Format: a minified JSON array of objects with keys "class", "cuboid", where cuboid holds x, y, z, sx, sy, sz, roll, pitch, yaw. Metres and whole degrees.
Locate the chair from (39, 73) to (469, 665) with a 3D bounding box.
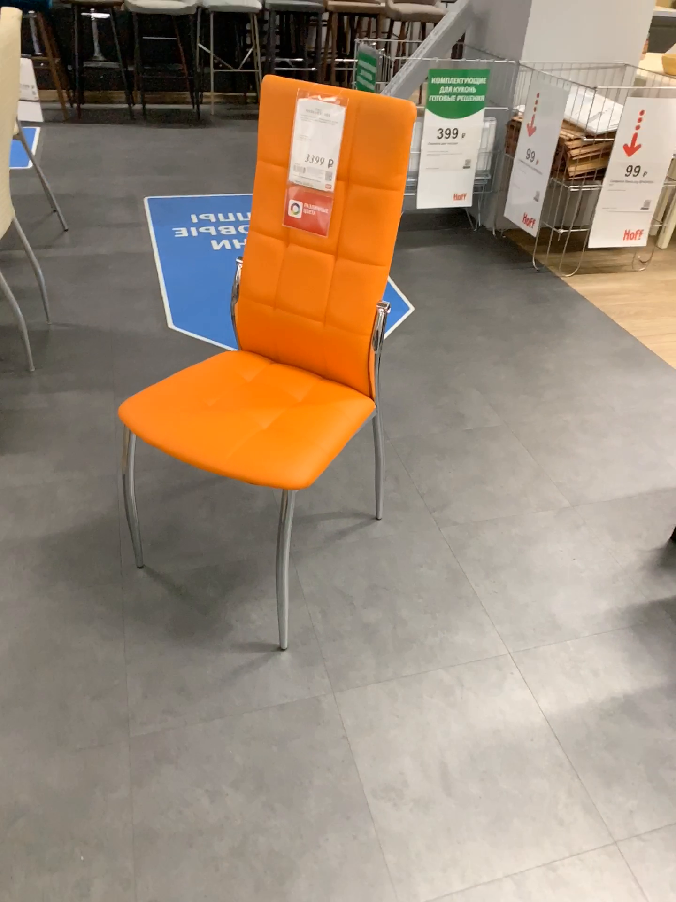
[{"class":"chair","cuboid":[-0.143,-0.169,1.462,0.490,1.014,0.543,23,40,24]}]
